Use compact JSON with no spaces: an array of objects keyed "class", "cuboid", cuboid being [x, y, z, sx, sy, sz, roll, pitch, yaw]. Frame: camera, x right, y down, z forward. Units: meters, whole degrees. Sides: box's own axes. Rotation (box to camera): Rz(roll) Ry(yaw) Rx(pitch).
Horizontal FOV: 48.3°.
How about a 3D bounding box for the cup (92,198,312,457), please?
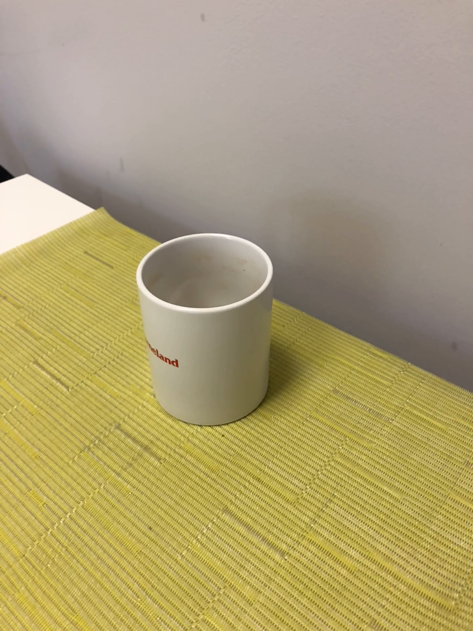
[{"class":"cup","cuboid":[-0.026,0.002,0.343,0.089,0.100,0.114,-18,42,-23]}]
